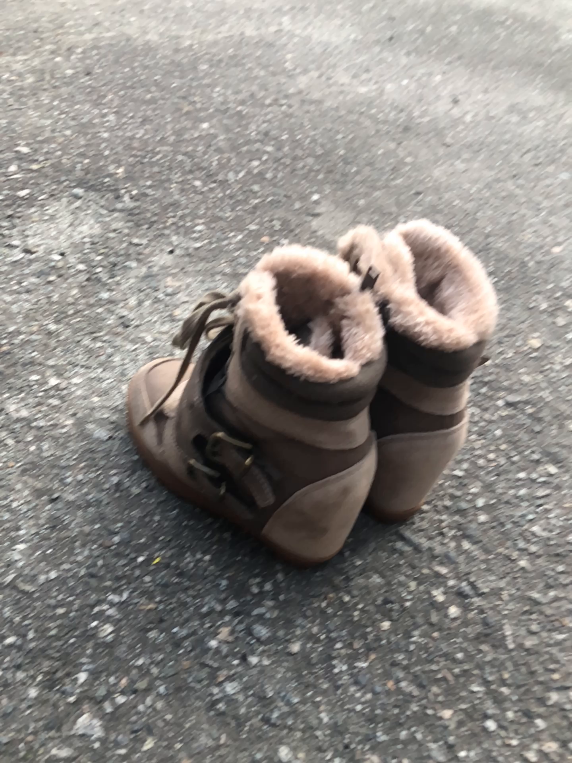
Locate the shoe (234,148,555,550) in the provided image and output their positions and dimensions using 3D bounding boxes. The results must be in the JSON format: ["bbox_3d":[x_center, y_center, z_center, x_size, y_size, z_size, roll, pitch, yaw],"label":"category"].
[{"bbox_3d":[0.050,-0.034,0.465,0.090,0.179,0.231,-16,47,-22],"label":"shoe"}]

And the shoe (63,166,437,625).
[{"bbox_3d":[-0.039,-0.001,0.414,0.100,0.179,0.231,-24,50,-28],"label":"shoe"}]
